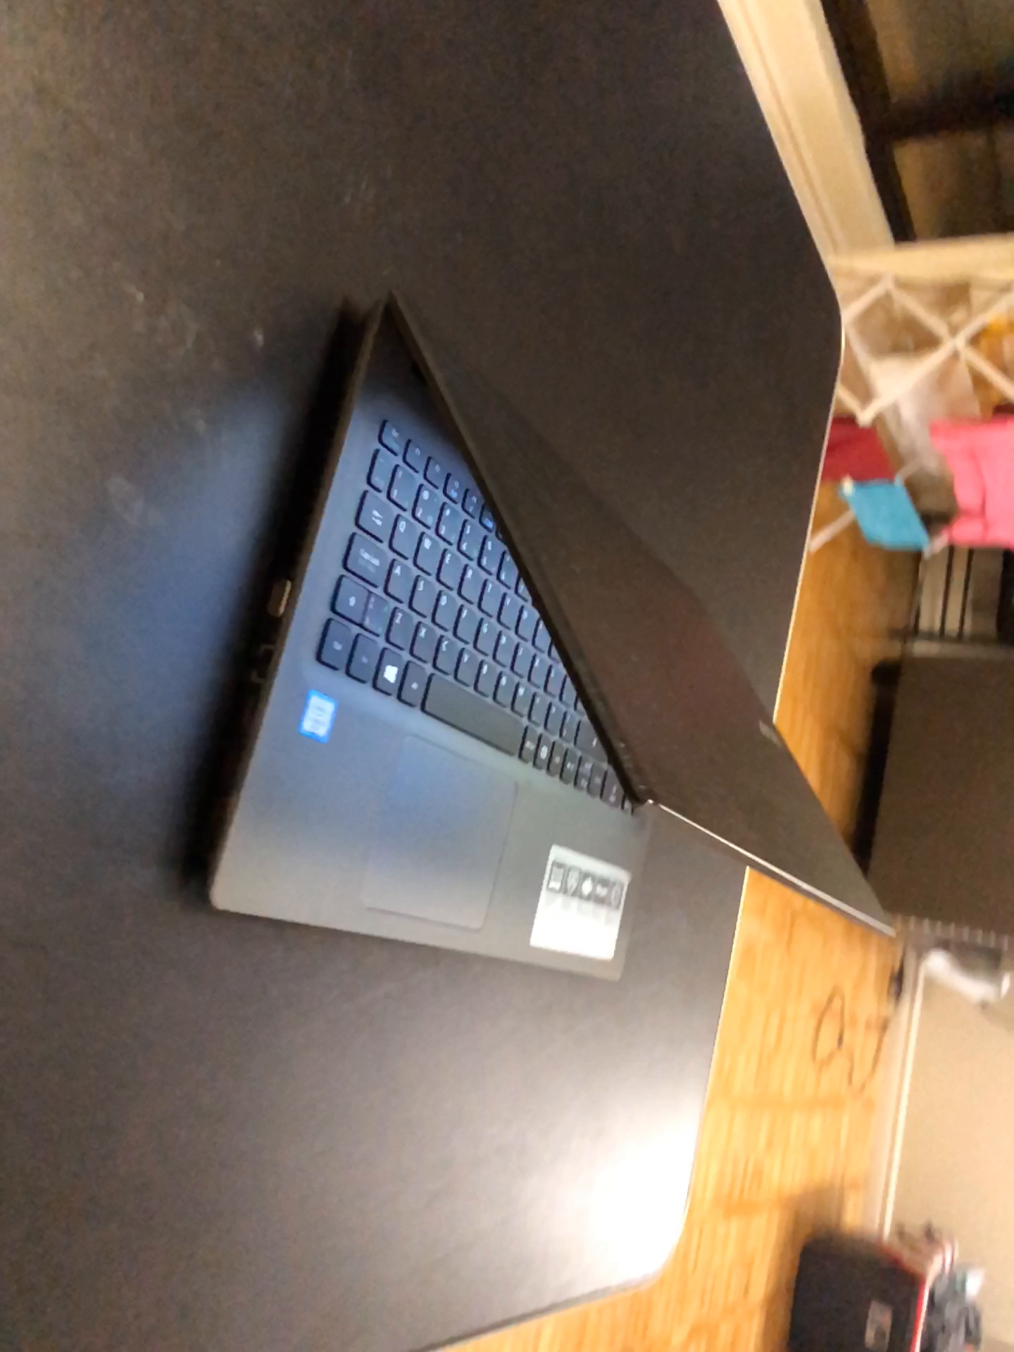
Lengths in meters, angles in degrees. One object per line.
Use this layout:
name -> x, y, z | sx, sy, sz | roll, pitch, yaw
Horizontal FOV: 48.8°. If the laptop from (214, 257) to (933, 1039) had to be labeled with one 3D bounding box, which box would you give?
laptop -> 0.076, 0.026, 0.549 | 0.370, 0.155, 0.251 | 31, 69, -55
